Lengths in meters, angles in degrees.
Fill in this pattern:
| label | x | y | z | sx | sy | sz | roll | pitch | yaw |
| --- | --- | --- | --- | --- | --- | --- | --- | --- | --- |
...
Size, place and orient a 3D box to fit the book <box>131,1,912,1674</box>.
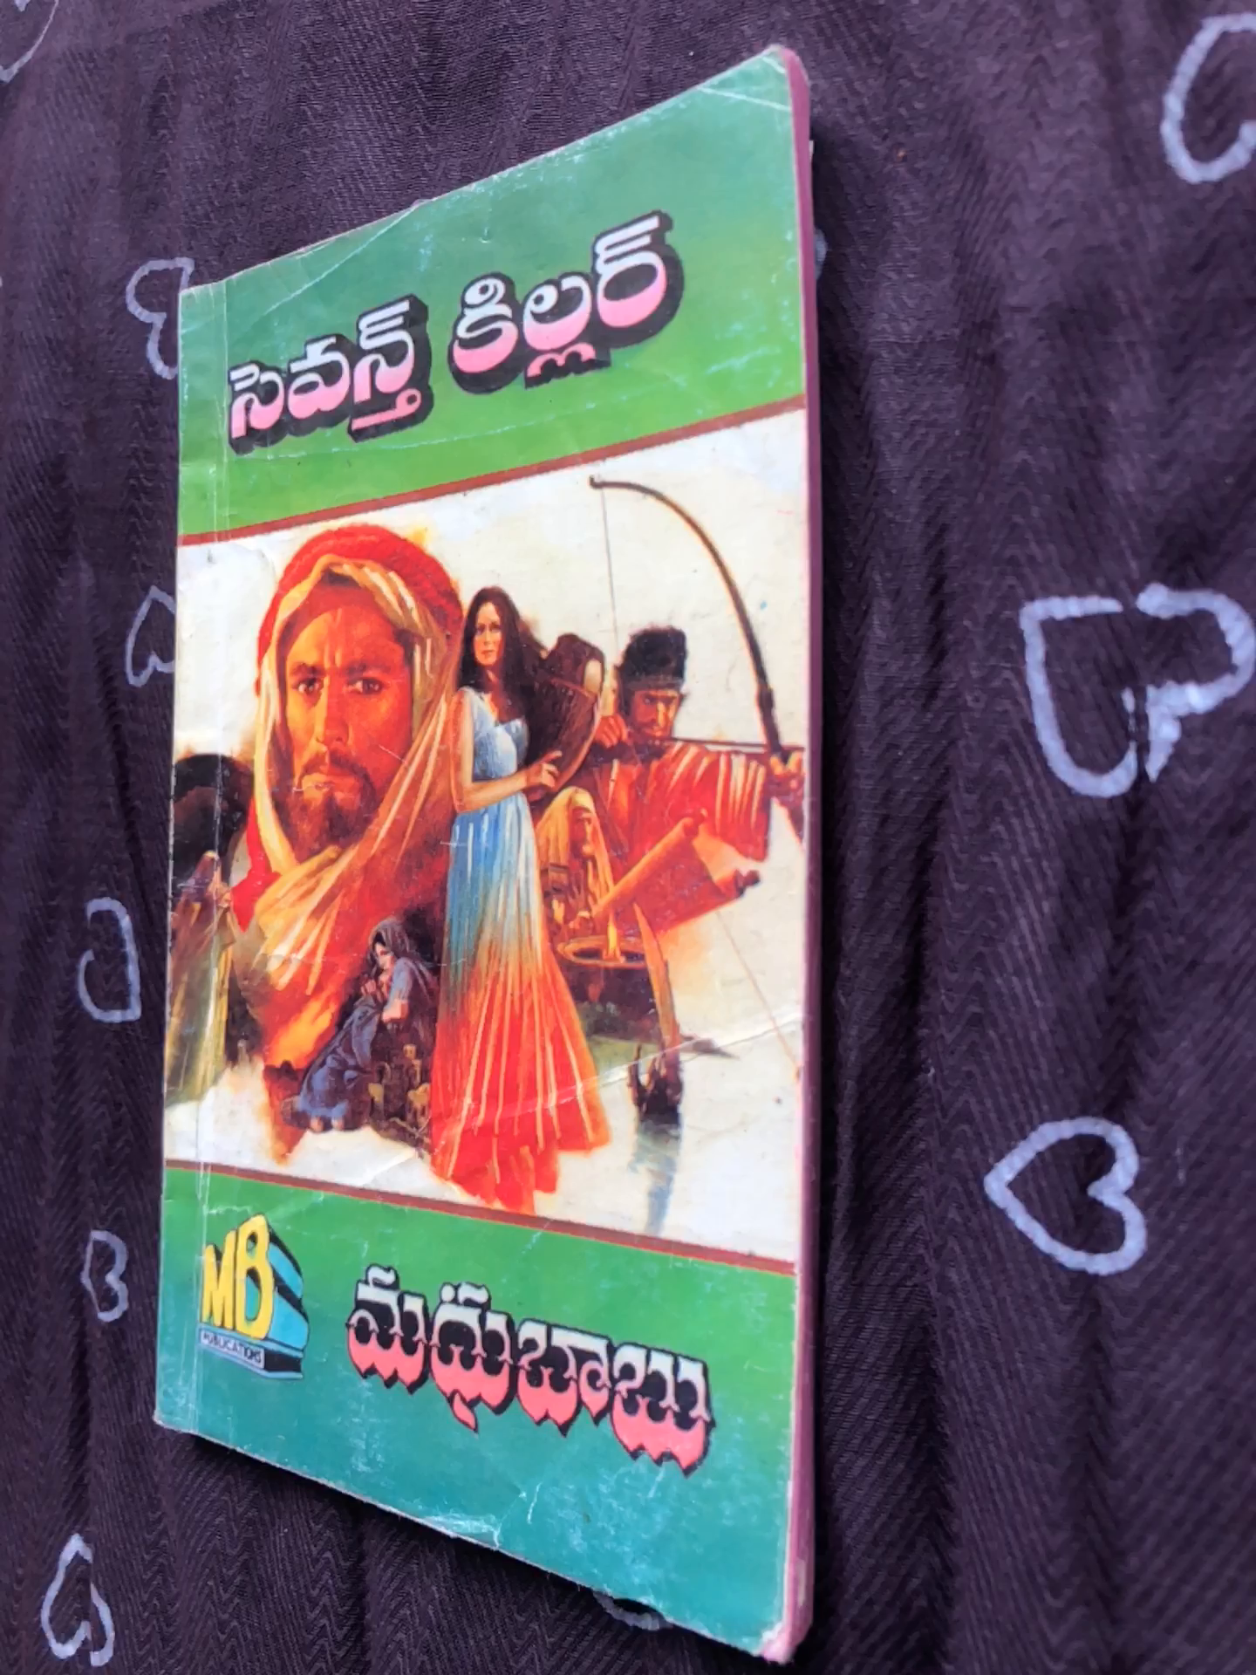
| label | x | y | z | sx | sy | sz | roll | pitch | yaw |
| --- | --- | --- | --- | --- | --- | --- | --- | --- | --- |
| book | -0.018 | 0.001 | 0.157 | 0.100 | 0.010 | 0.150 | 0 | 88 | 35 |
